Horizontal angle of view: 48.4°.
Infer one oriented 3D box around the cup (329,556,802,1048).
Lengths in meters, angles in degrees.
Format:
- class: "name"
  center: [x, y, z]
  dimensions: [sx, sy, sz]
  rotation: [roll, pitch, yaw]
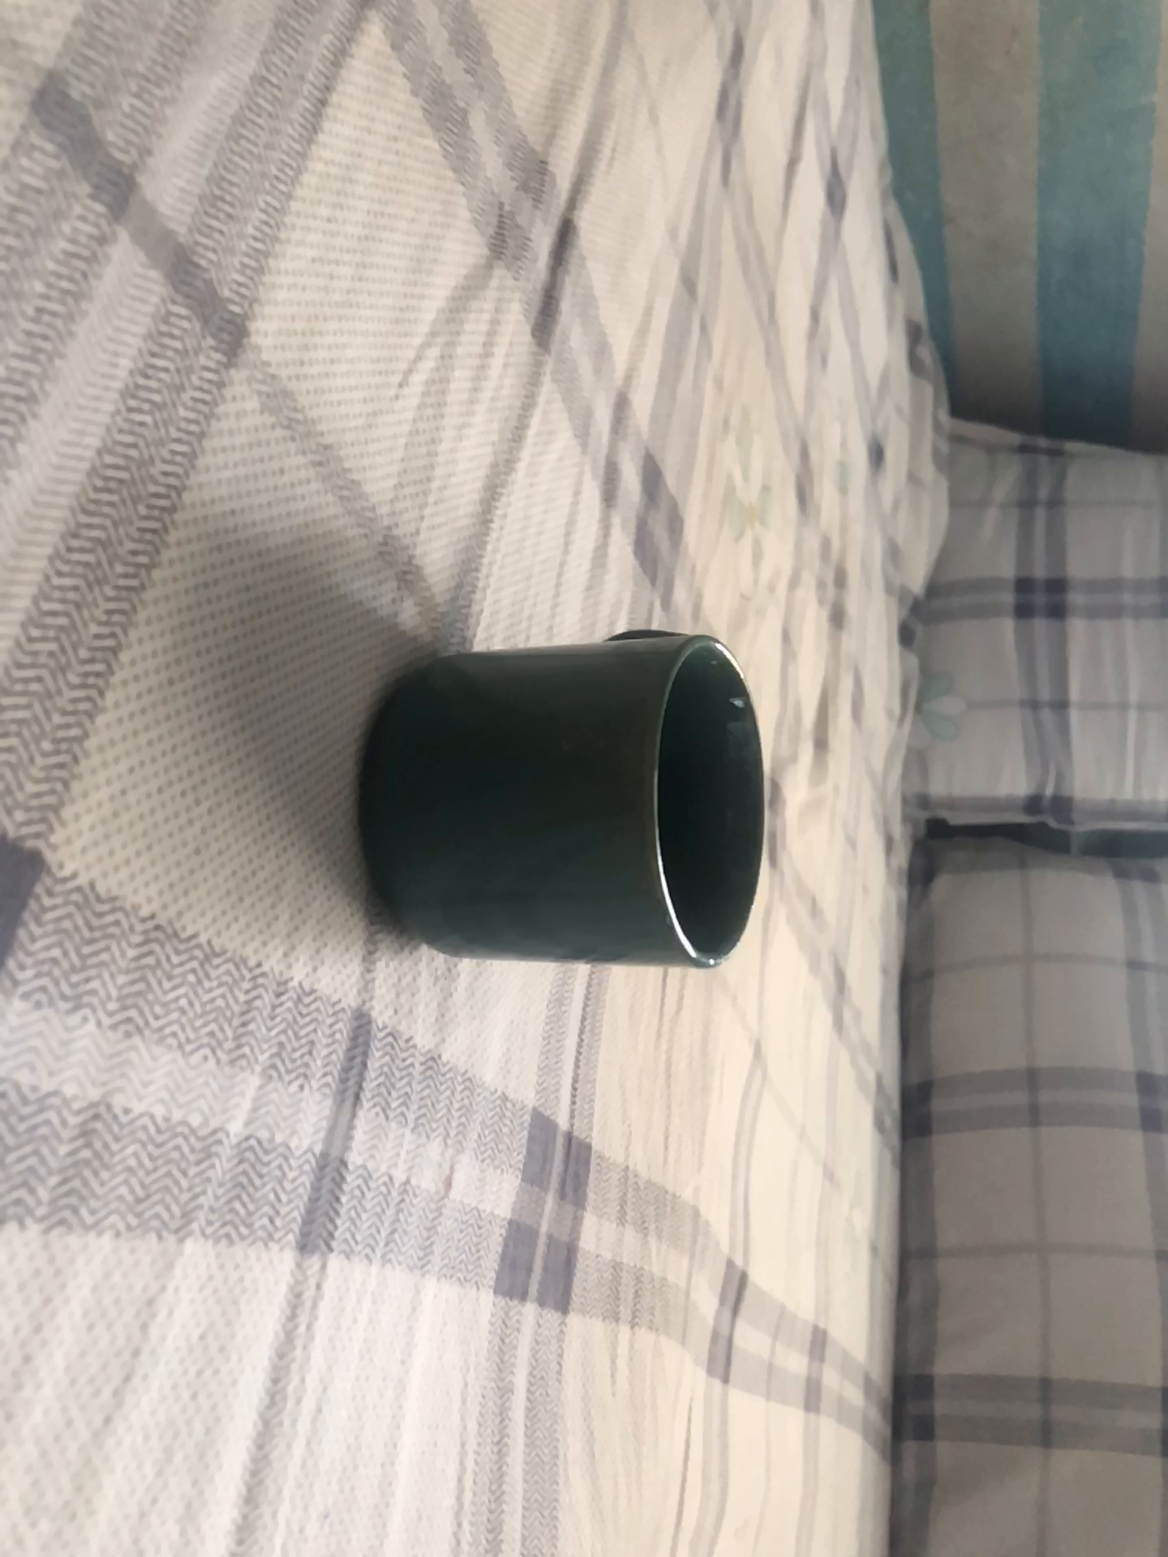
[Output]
- class: "cup"
  center: [0.003, 0.000, 0.252]
  dimensions: [0.080, 0.060, 0.070]
  rotation: [-44, 130, -64]
